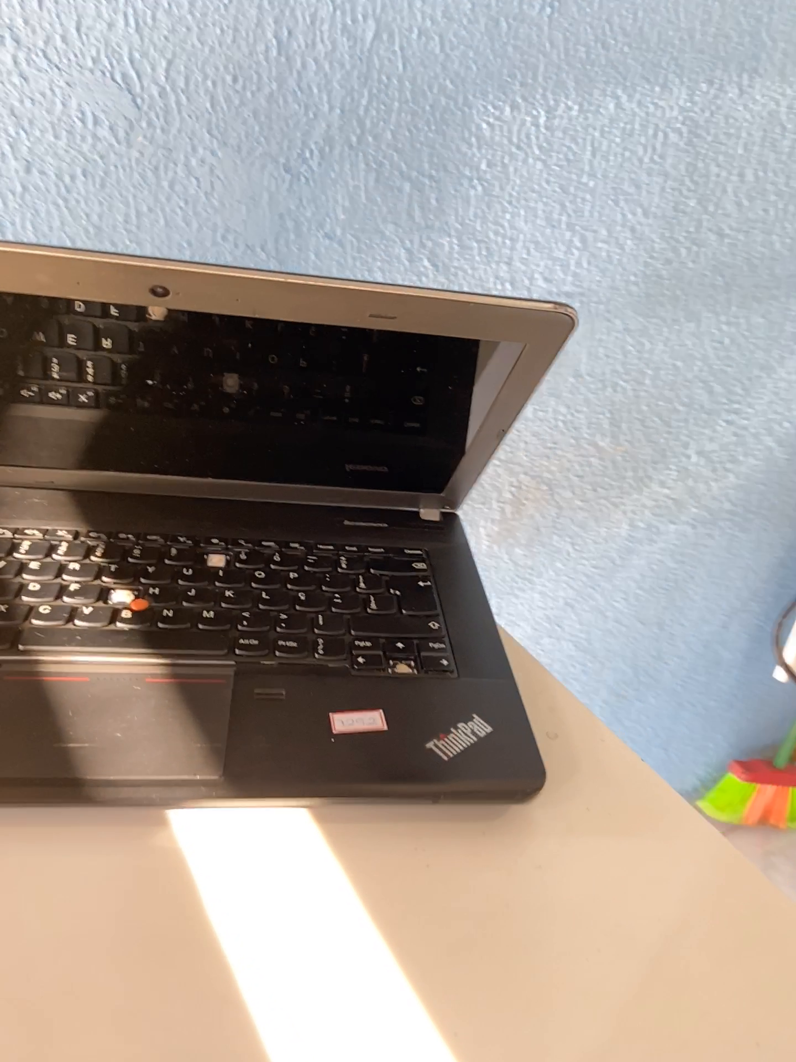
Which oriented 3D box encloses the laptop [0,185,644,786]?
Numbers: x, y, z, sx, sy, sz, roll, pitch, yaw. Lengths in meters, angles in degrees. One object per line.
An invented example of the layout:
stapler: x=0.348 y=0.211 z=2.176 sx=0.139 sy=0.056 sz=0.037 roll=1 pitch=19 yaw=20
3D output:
laptop: x=-0.106 y=-0.035 z=0.371 sx=0.330 sy=0.165 sz=0.232 roll=3 pitch=29 yaw=-9
